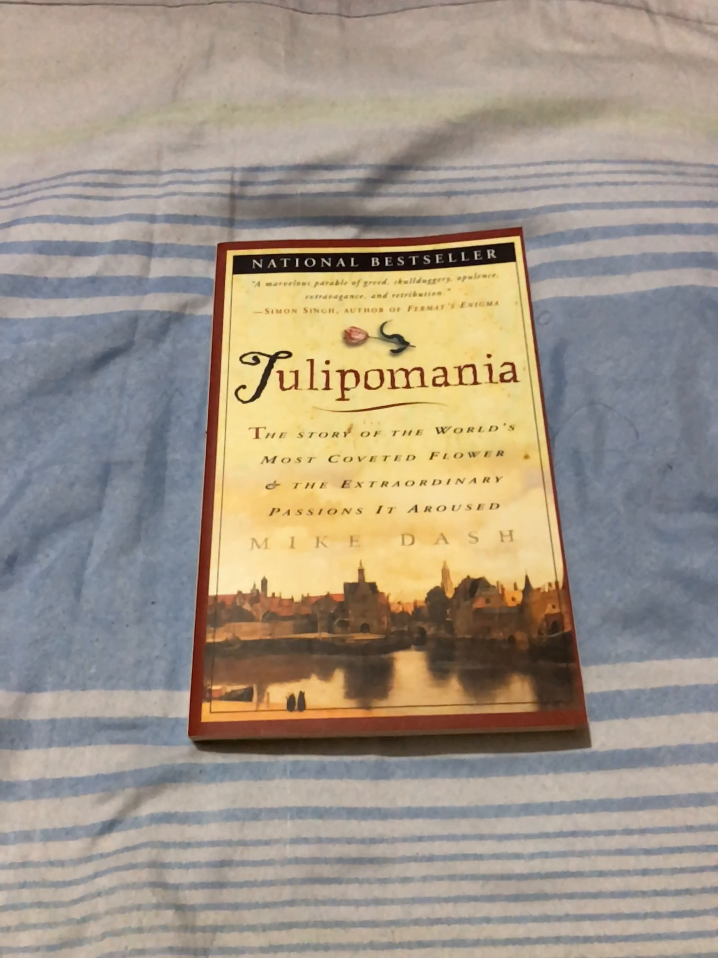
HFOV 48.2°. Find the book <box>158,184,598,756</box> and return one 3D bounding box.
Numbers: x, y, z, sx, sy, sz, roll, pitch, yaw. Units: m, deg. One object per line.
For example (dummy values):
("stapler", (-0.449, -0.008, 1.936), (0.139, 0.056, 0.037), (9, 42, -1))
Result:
("book", (0.003, -0.013, 0.327), (0.140, 0.050, 0.230), (-2, 64, 1))
